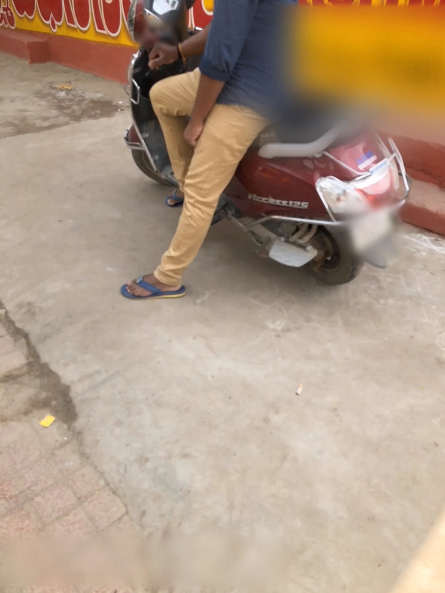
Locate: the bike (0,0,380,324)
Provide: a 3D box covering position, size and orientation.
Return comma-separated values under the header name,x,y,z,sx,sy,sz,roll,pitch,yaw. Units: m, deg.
name,x,y,z,sx,sy,sz,roll,pitch,yaw
bike,-0.232,-0.747,2.096,1.378,1.087,0.632,31,44,34
